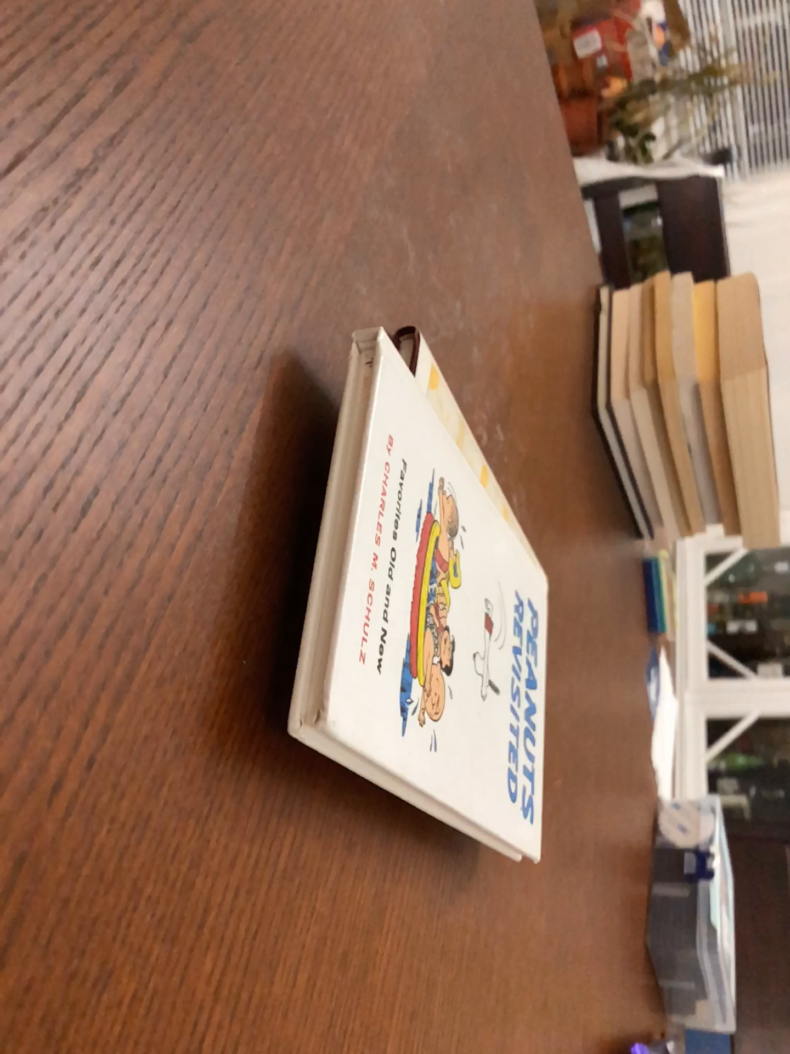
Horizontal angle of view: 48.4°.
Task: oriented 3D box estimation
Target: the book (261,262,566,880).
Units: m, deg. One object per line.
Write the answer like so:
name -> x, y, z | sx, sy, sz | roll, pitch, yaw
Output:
book -> 0.027, 0.035, 0.331 | 0.211, 0.020, 0.160 | 47, 43, -53
